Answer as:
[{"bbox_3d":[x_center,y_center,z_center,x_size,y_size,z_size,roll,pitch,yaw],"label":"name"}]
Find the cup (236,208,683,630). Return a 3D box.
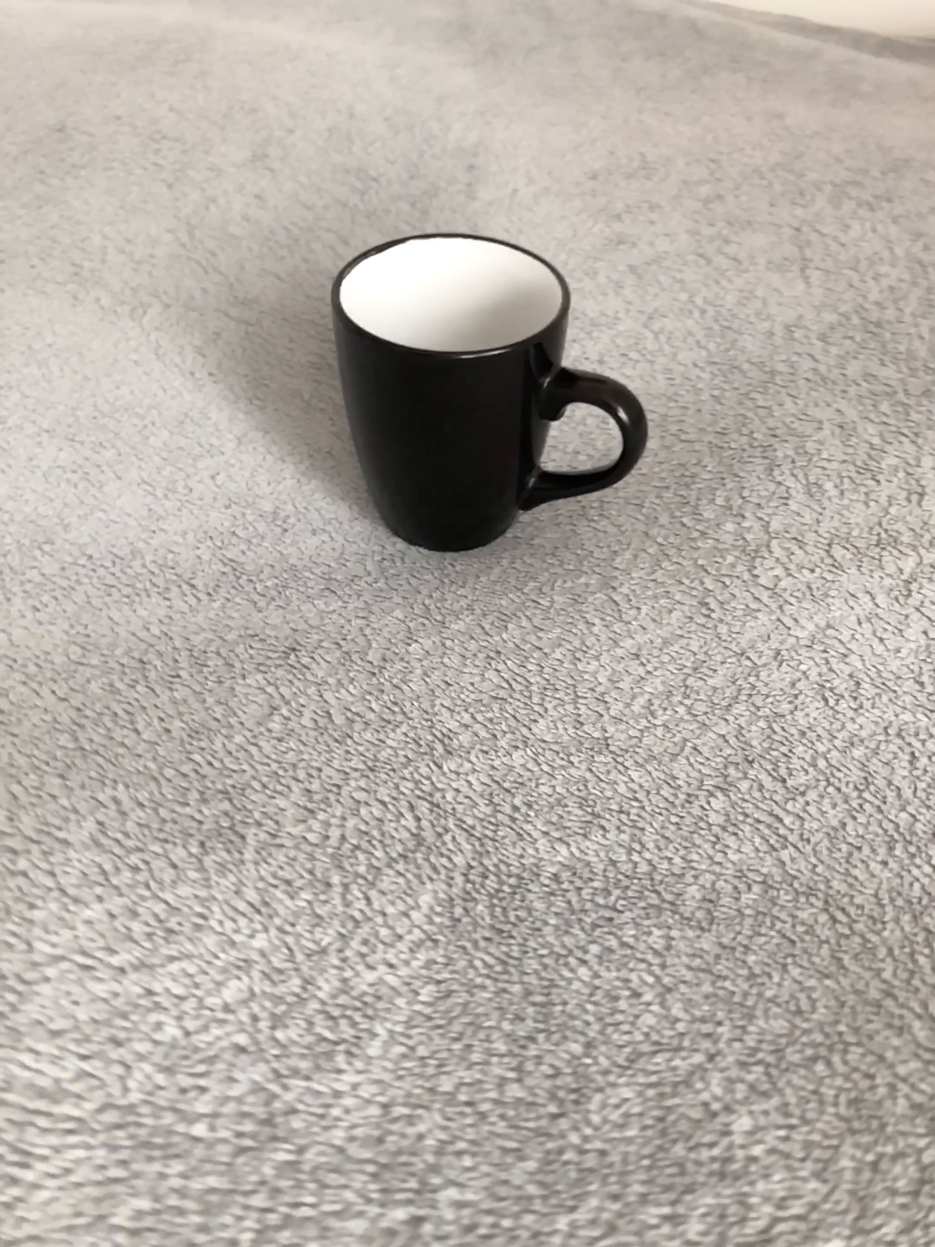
[{"bbox_3d":[-0.004,-0.081,0.391,0.128,0.089,0.090,24,48,19],"label":"cup"}]
